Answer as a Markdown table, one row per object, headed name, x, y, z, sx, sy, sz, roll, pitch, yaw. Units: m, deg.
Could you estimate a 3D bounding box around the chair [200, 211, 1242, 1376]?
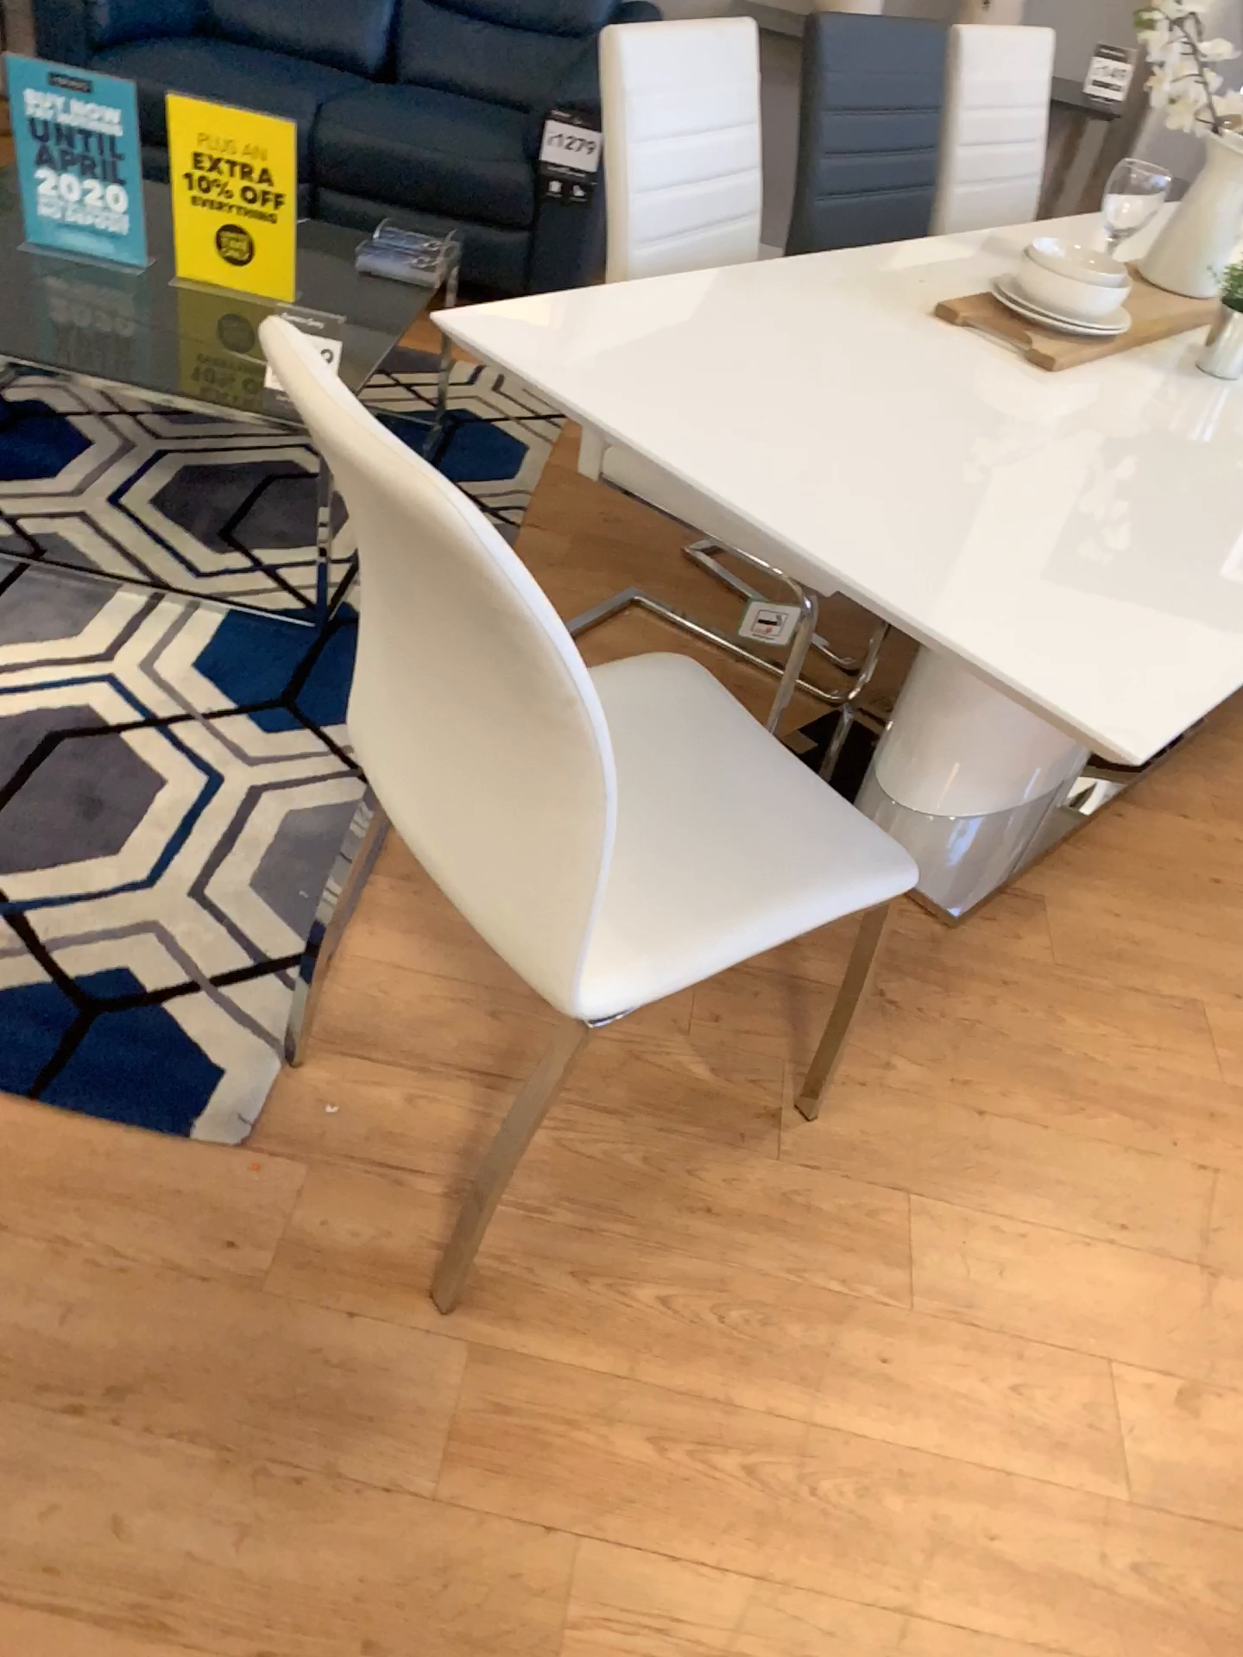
| name | x | y | z | sx | sy | sz | roll | pitch | yaw |
| --- | --- | --- | --- | --- | --- | --- | --- | --- | --- |
| chair | 0.012 | -0.051 | 1.226 | 0.631 | 0.863 | 0.518 | -19 | 50 | -33 |
